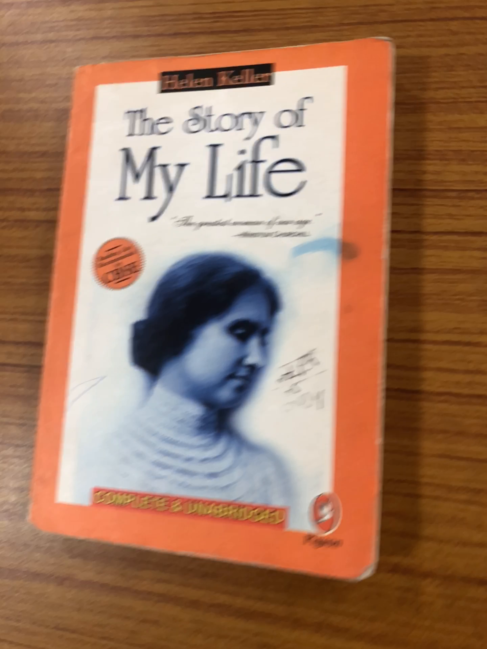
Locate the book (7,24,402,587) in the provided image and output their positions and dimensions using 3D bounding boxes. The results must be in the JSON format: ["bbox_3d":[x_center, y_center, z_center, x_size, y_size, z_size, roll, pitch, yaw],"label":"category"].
[{"bbox_3d":[-0.010,-0.011,0.190,0.120,0.030,0.170,2,83,12],"label":"book"}]
